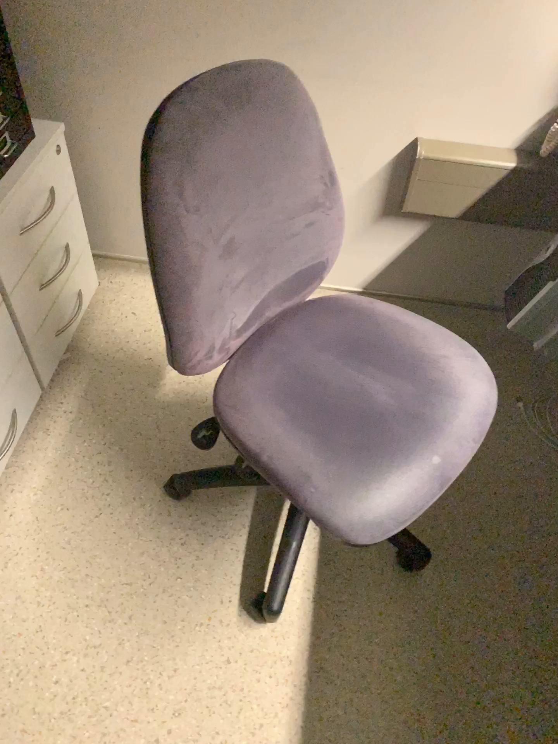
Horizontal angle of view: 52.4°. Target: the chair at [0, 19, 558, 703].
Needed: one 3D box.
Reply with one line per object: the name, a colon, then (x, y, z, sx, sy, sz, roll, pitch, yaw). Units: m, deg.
chair: (0.091, 0.010, 1.088, 0.683, 0.902, 0.673, 35, 57, 22)
